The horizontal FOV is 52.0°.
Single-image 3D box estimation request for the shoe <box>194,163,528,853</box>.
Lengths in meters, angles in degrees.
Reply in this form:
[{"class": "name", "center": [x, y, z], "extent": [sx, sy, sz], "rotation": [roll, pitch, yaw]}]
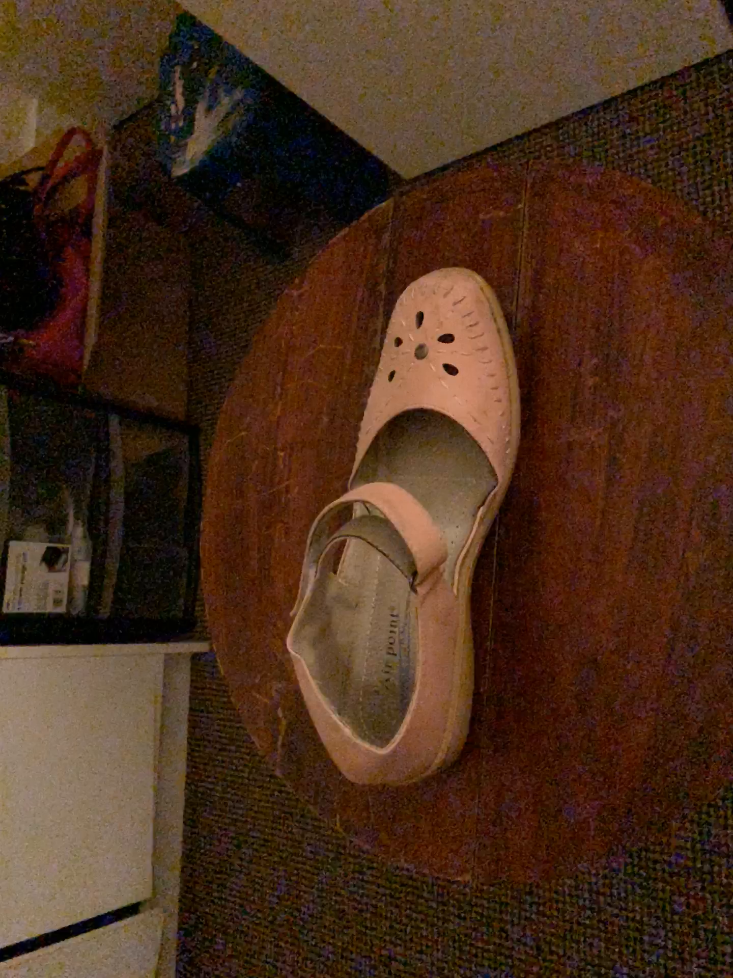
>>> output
[{"class": "shoe", "center": [0.001, 0.007, 0.361], "extent": [0.102, 0.092, 0.271], "rotation": [0, 82, 39]}]
